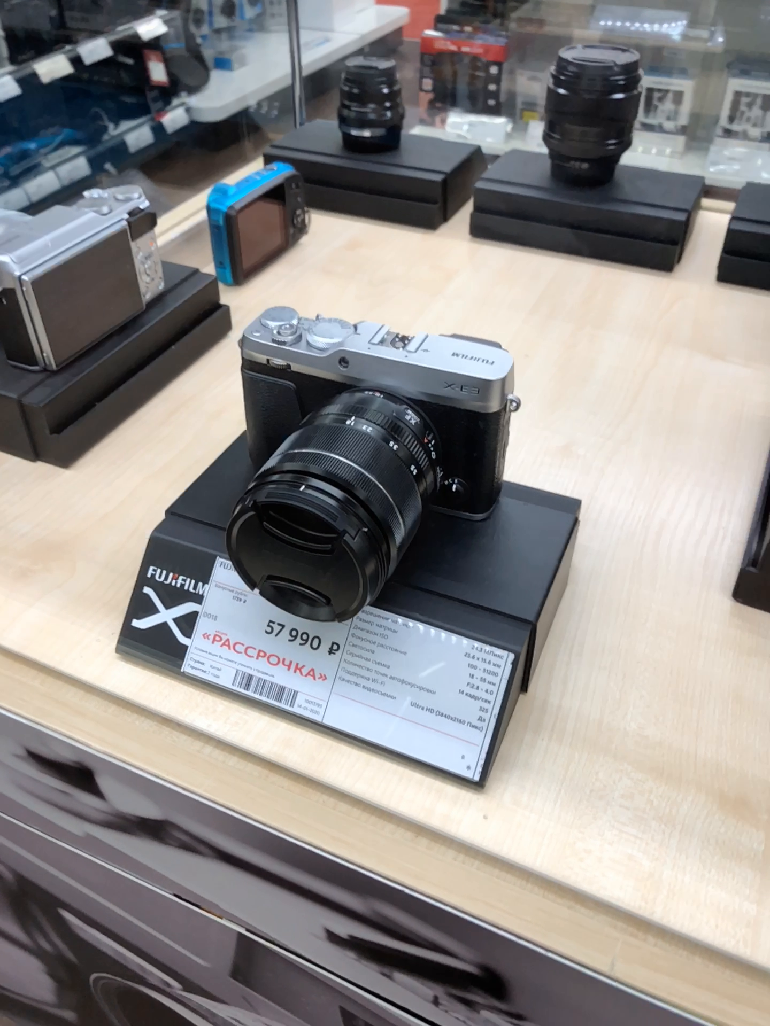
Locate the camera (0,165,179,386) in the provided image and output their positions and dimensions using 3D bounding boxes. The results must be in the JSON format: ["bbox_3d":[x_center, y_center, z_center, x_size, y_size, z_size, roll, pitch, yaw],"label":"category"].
[{"bbox_3d":[-0.197,-0.145,0.504,0.077,0.068,0.132,16,43,18],"label":"camera"}]

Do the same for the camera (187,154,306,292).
[{"bbox_3d":[-0.103,-0.224,0.655,0.036,0.064,0.101,20,44,18],"label":"camera"}]

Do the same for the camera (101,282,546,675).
[{"bbox_3d":[-0.018,-0.022,0.351,0.131,0.080,0.116,16,43,18],"label":"camera"}]
